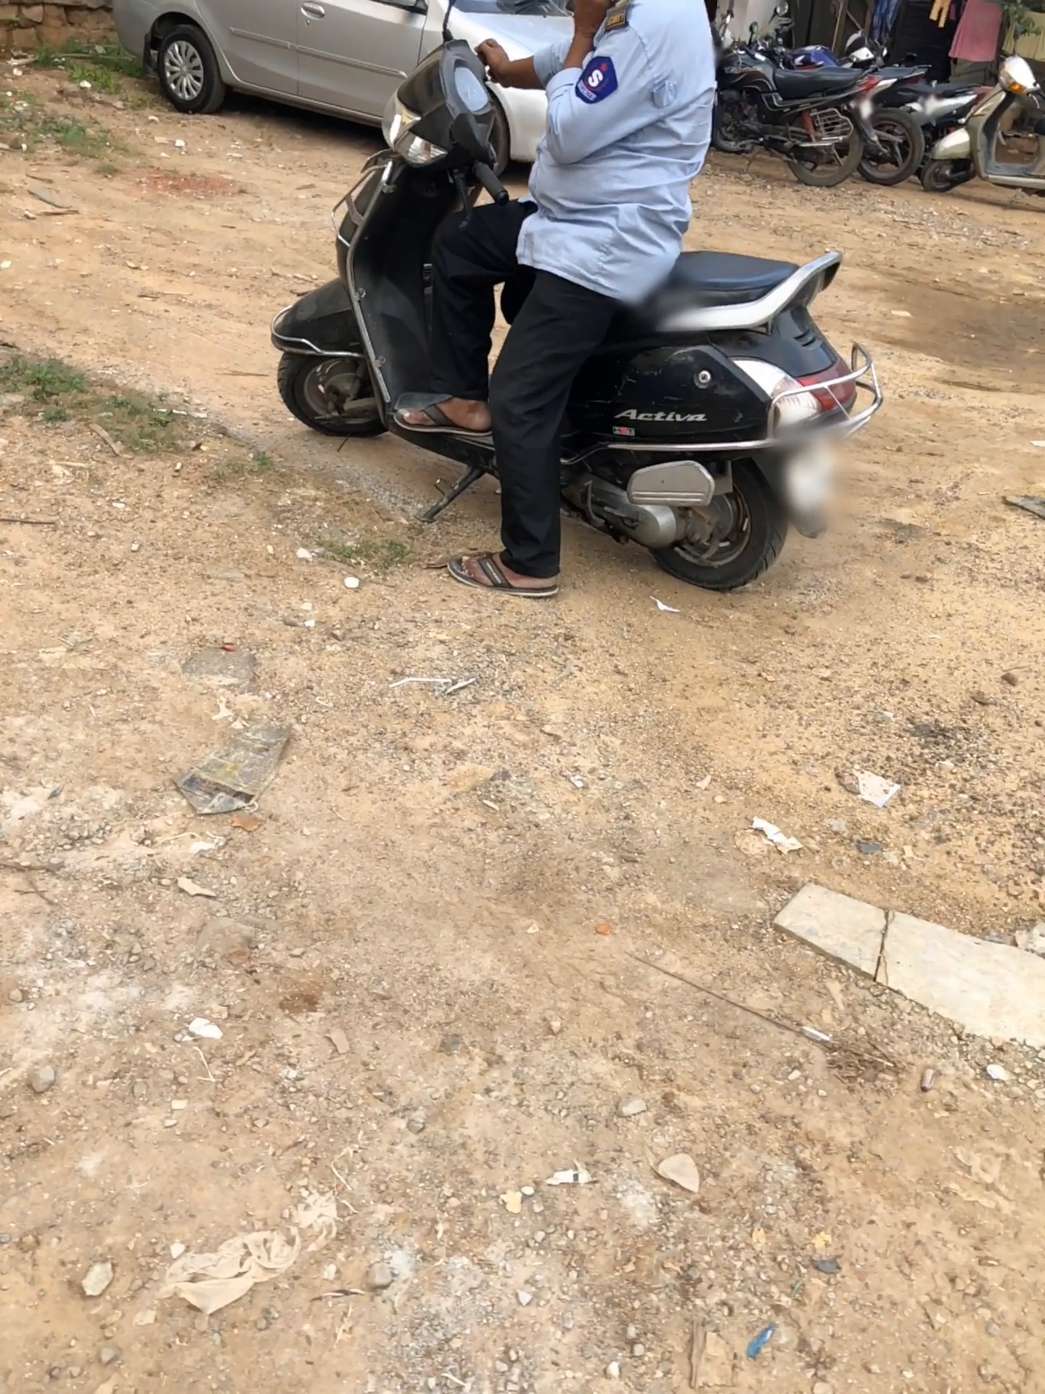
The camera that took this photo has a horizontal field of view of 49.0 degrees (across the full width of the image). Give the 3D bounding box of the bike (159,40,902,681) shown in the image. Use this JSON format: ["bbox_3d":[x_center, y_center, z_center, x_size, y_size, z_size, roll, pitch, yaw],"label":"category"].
[{"bbox_3d":[-0.074,-0.869,2.709,1.524,1.102,0.577,23,35,29],"label":"bike"}]
